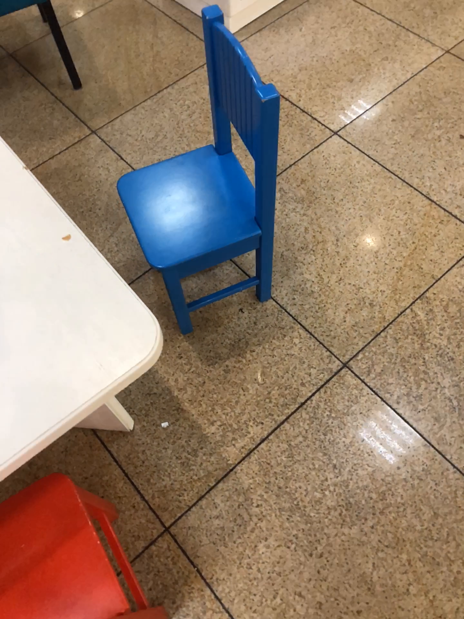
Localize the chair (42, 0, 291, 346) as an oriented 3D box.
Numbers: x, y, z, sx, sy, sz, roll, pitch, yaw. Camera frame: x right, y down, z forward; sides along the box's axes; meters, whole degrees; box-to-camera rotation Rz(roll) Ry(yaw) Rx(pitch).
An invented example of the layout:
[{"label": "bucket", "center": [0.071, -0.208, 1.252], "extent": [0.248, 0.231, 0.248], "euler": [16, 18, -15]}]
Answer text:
[{"label": "chair", "center": [-0.101, -0.238, 1.115], "extent": [0.330, 0.649, 0.290], "euler": [-22, 62, -9]}]
